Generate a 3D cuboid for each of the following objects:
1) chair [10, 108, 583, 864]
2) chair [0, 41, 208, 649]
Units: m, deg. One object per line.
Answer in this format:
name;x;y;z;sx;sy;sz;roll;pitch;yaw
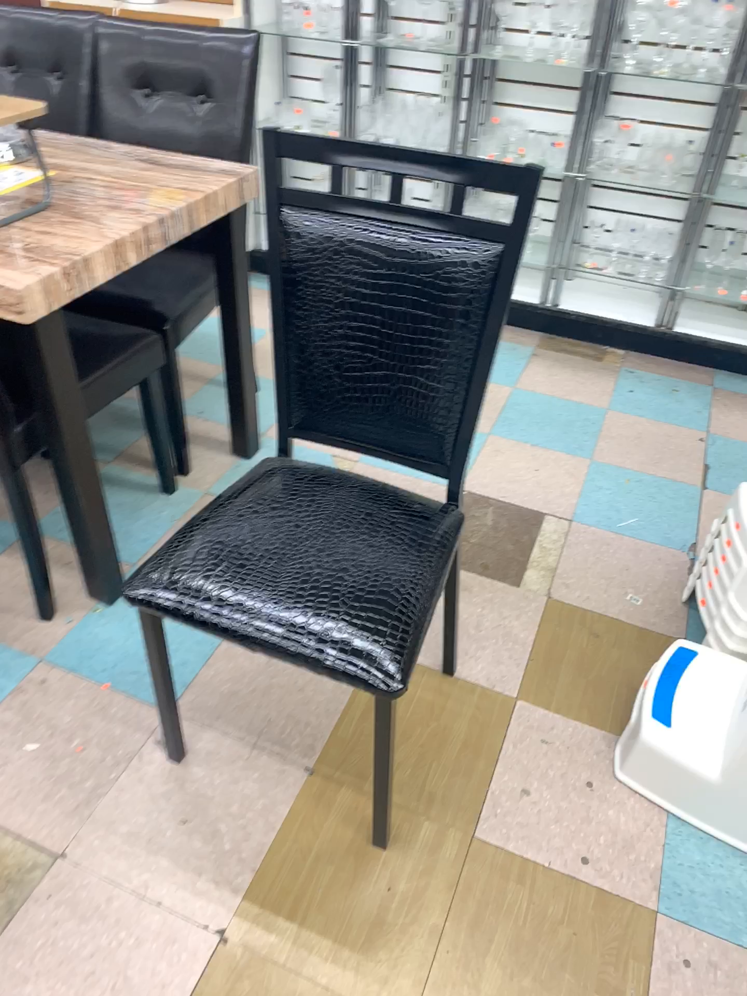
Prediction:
chair;-0.056;0.006;1.143;0.462;0.942;0.507;16;41;17
chair;-0.759;-0.299;1.479;0.532;0.923;0.597;14;41;14
